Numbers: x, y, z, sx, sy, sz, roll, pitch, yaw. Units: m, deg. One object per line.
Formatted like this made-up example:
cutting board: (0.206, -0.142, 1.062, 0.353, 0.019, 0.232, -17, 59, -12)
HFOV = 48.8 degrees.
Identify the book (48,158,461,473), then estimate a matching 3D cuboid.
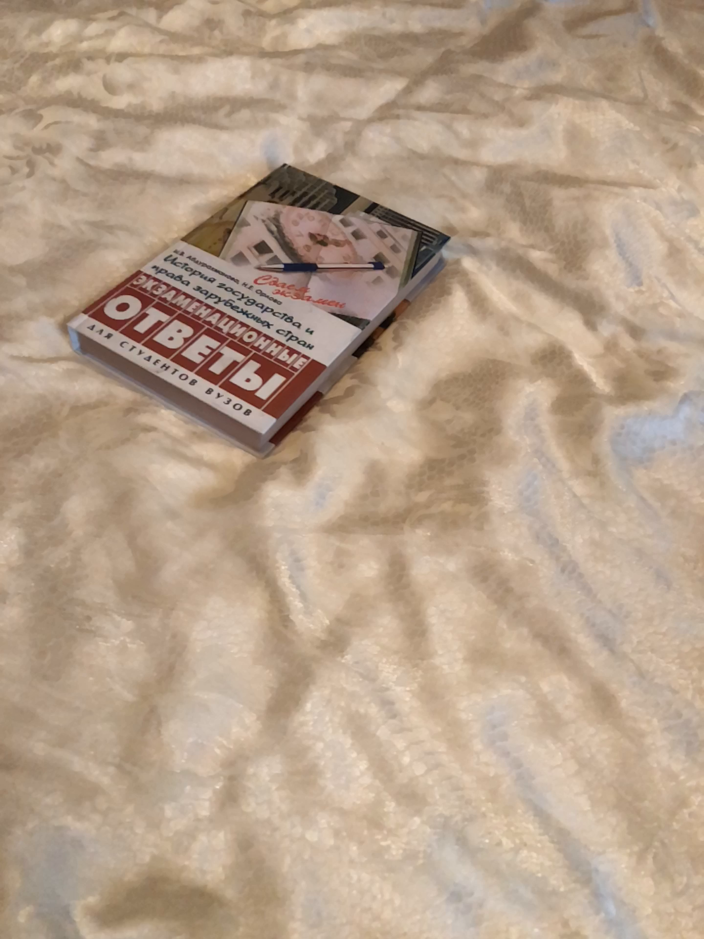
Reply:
book: (-0.050, -0.109, 0.480, 0.150, 0.030, 0.211, 29, 55, 17)
